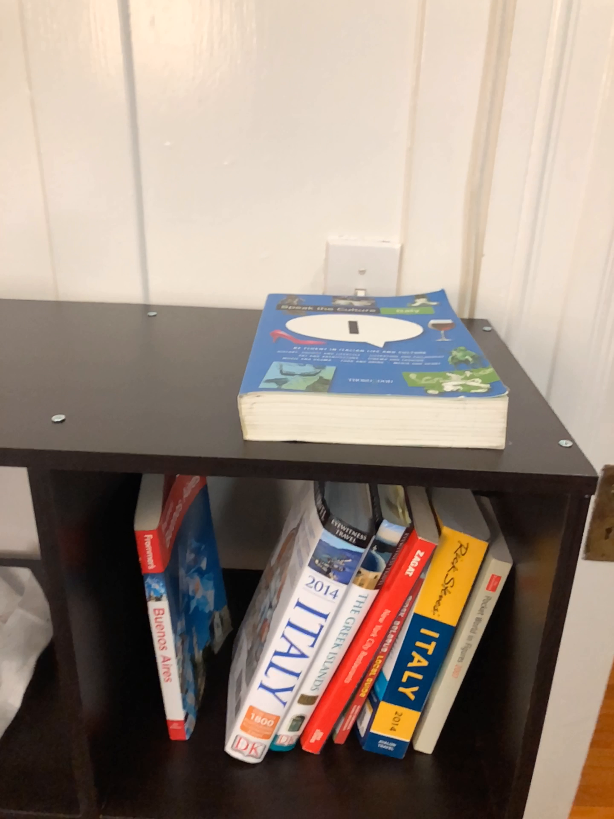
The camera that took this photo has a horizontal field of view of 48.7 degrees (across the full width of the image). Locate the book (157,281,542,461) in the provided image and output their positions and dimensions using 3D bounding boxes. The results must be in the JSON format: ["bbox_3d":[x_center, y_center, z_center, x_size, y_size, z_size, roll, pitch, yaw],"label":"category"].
[{"bbox_3d":[0.022,-0.042,0.477,0.200,0.030,0.261,1,24,-1],"label":"book"}]
